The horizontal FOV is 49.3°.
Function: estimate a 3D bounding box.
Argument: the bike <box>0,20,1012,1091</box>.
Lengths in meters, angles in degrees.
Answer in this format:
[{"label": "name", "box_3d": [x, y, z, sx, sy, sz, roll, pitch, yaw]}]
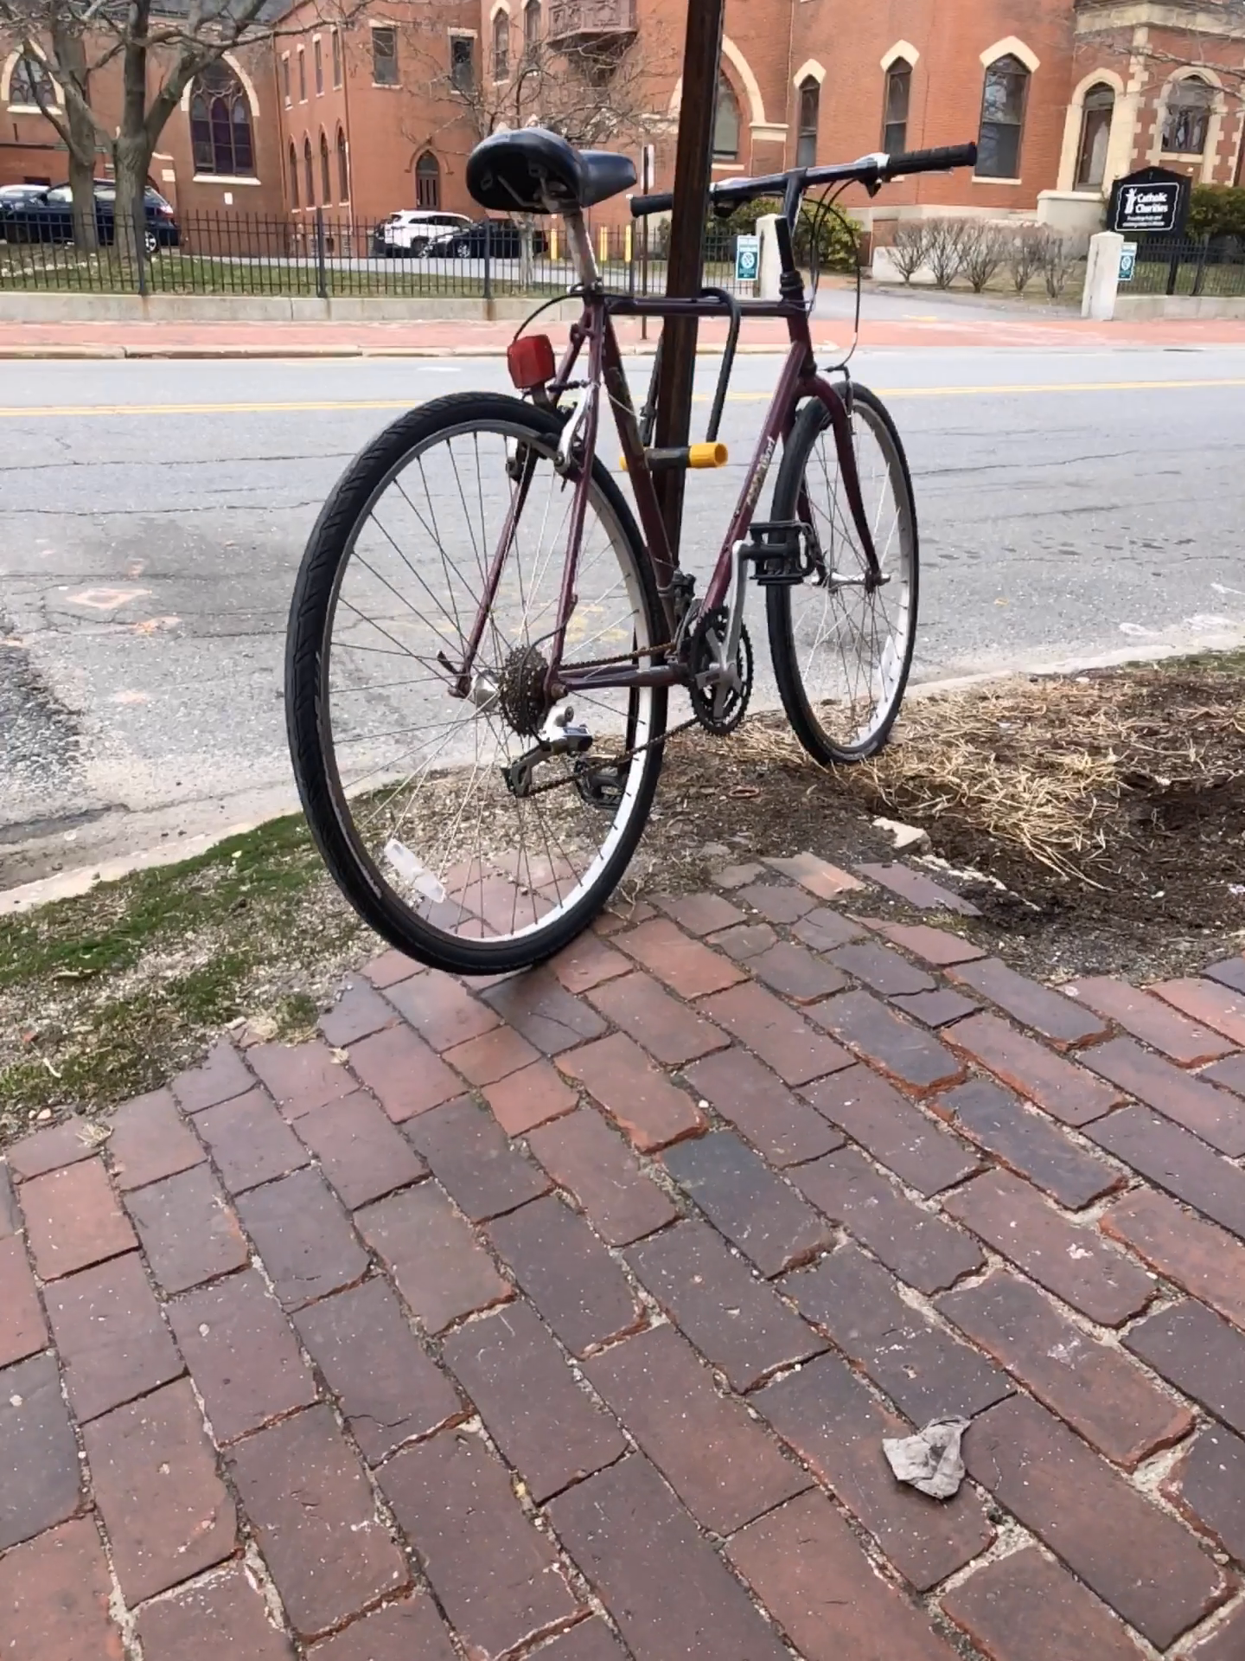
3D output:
[{"label": "bike", "box_3d": [0.017, -0.529, 2.044, 0.555, 0.963, 1.690, 13, 26, 29]}]
